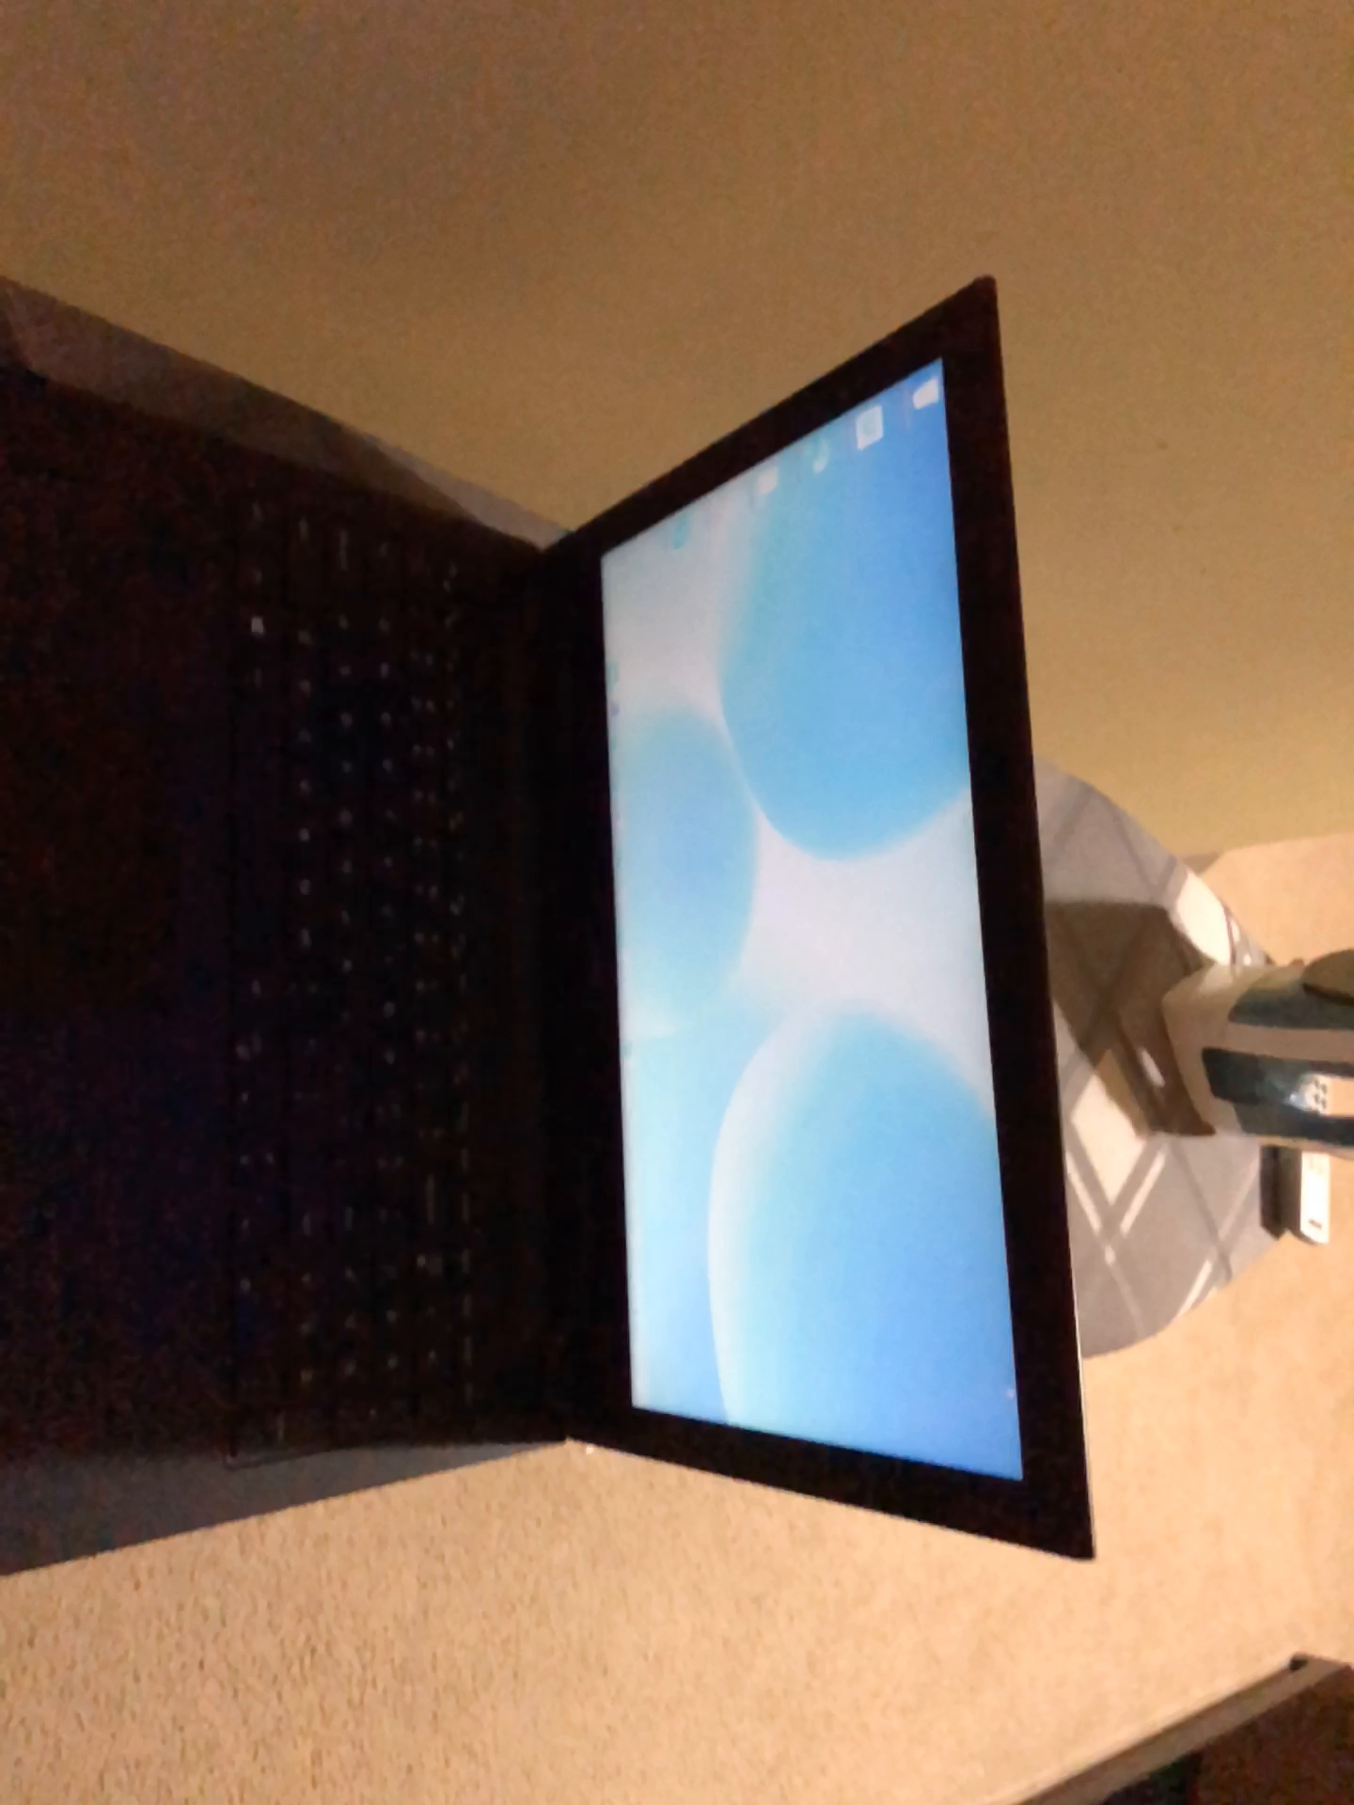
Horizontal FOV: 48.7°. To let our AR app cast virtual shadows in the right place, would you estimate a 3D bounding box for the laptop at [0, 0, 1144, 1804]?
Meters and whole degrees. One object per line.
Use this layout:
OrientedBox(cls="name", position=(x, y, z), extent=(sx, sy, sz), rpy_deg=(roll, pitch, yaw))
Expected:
OrientedBox(cls="laptop", position=(-0.050, 0.003, 0.428), extent=(0.248, 0.231, 0.352), rpy_deg=(7, 77, -46))
